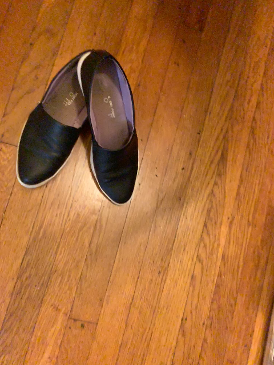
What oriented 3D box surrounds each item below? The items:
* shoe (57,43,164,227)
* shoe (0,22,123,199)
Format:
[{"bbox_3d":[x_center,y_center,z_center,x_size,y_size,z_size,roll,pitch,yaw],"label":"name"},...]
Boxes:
[{"bbox_3d":[-0.039,-0.070,0.447,0.100,0.080,0.250,-17,112,-11],"label":"shoe"},{"bbox_3d":[-0.132,-0.112,0.469,0.100,0.080,0.260,28,81,-8],"label":"shoe"}]
